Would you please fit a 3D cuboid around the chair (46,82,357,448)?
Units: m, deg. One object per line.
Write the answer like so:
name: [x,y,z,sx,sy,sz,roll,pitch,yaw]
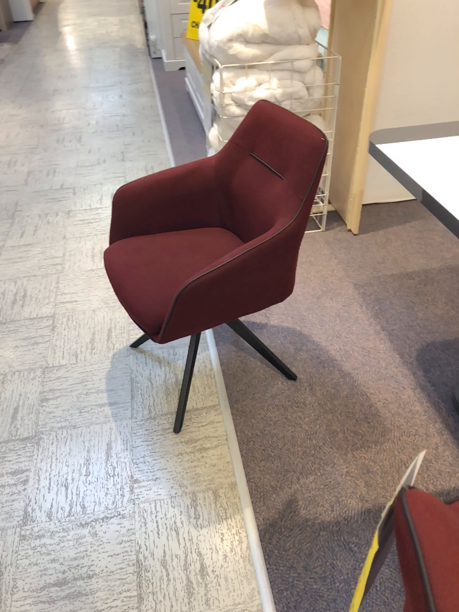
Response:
chair: [-0.091,-0.144,1.441,0.571,0.736,0.582,-18,41,-19]
